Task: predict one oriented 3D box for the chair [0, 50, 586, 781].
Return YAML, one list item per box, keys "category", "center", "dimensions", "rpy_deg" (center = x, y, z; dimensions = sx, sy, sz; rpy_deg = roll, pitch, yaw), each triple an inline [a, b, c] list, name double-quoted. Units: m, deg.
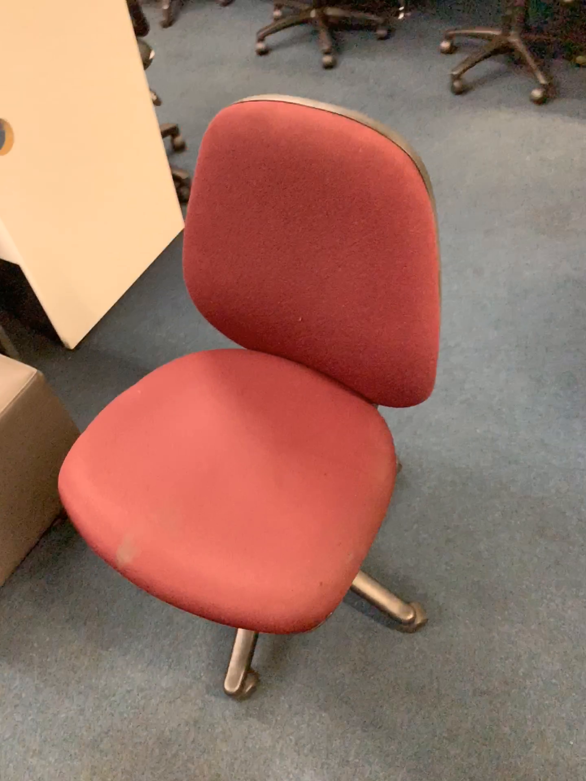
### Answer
- category: "chair"
  center: [-0.036, 0.062, 0.975]
  dimensions: [0.652, 0.784, 0.693]
  rpy_deg: [24, 59, 22]
